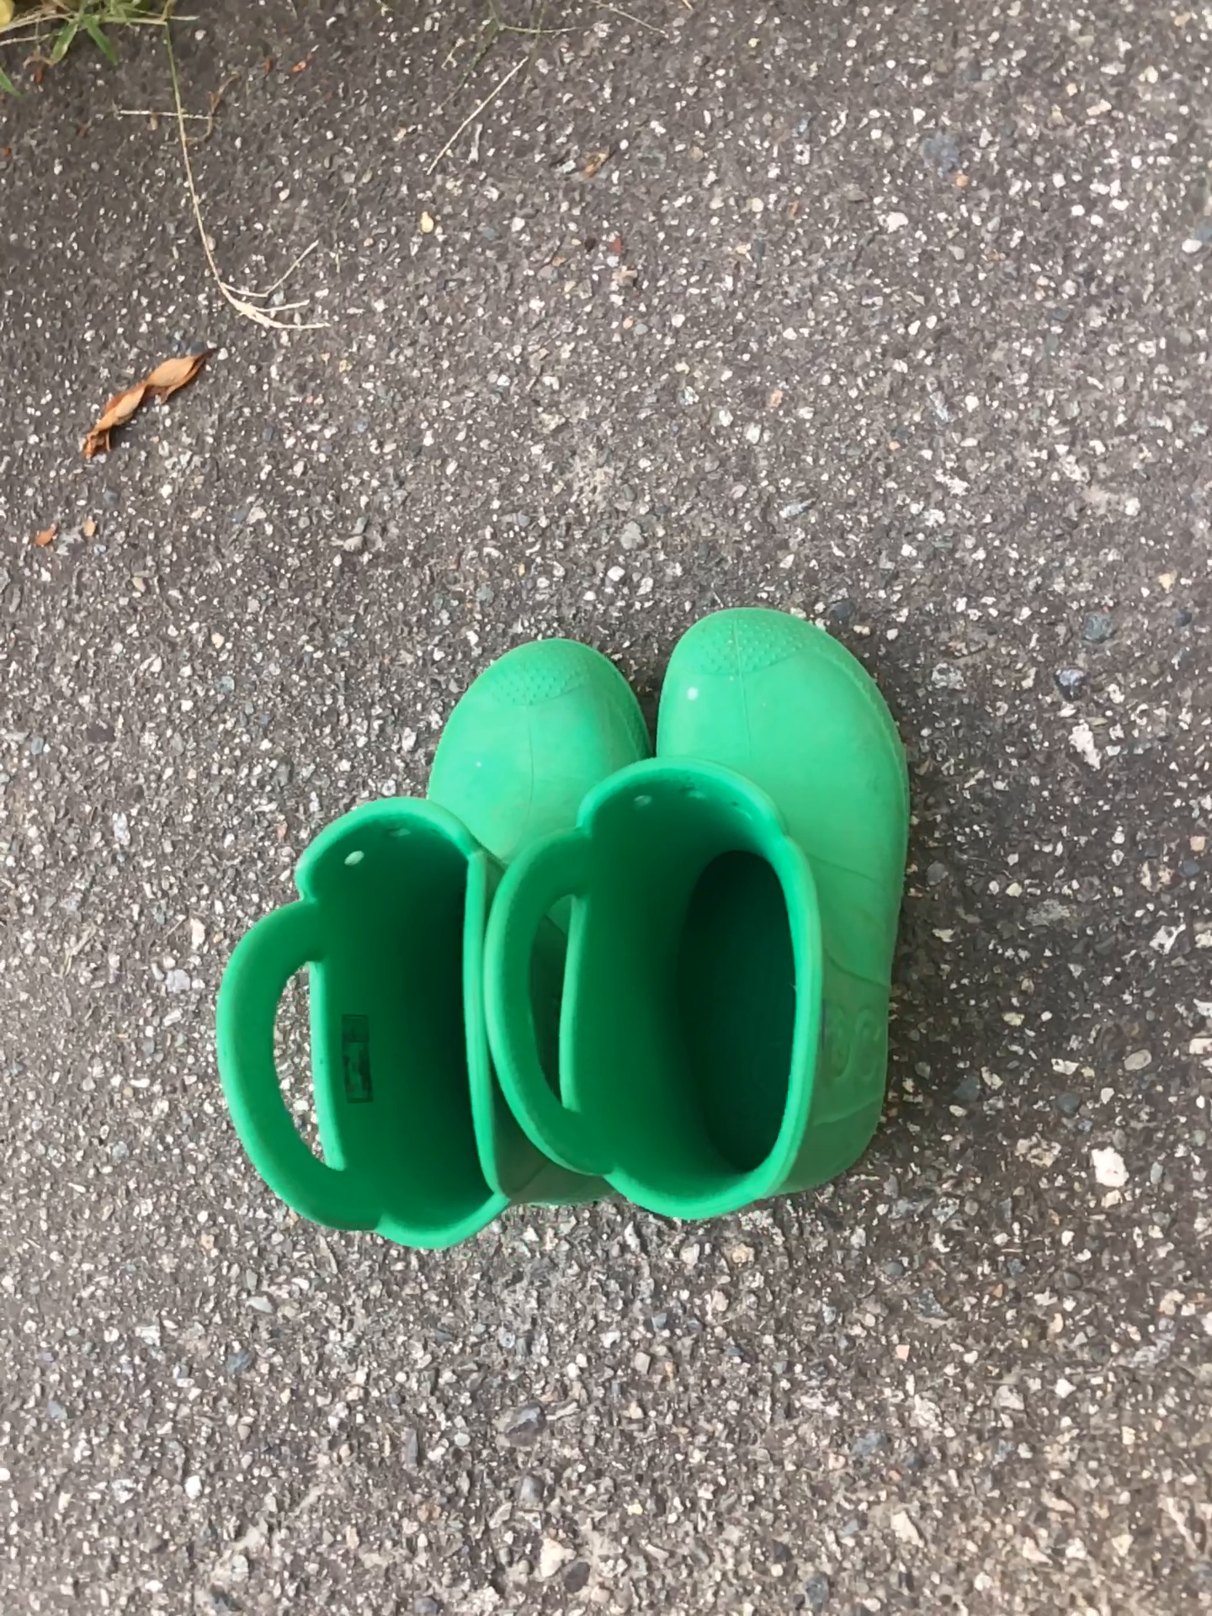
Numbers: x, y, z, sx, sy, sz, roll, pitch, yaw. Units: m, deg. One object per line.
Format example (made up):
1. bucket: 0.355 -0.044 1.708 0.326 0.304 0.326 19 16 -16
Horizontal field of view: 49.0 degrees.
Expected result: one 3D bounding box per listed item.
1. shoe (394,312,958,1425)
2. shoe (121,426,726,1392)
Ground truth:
1. shoe: 0.044 0.025 0.450 0.110 0.260 0.260 -8 83 14
2. shoe: -0.046 0.037 0.471 0.110 0.230 0.250 -8 83 14
